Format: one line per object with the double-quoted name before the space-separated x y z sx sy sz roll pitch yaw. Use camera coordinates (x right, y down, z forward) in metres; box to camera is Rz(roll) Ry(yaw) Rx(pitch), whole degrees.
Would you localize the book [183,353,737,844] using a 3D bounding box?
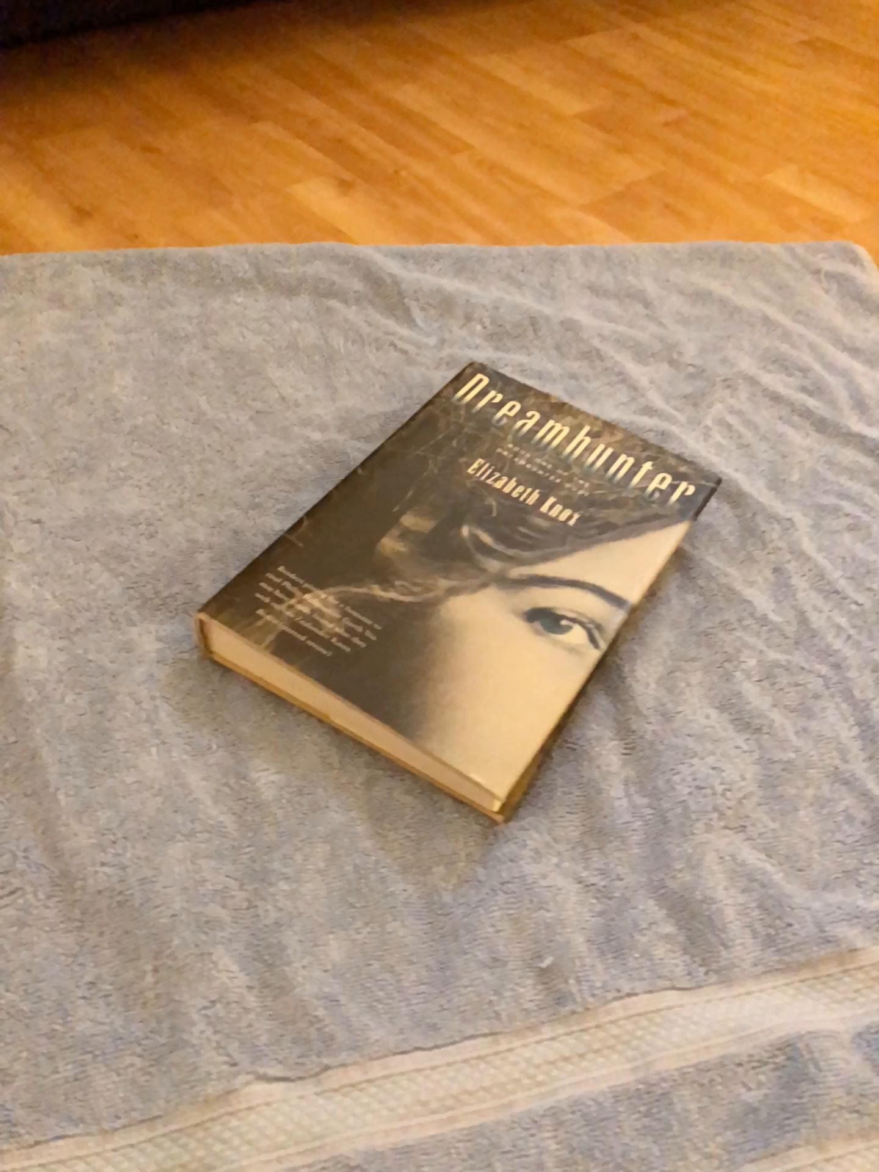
"book" 0.021 -0.015 0.456 0.163 0.030 0.226 29 51 16
